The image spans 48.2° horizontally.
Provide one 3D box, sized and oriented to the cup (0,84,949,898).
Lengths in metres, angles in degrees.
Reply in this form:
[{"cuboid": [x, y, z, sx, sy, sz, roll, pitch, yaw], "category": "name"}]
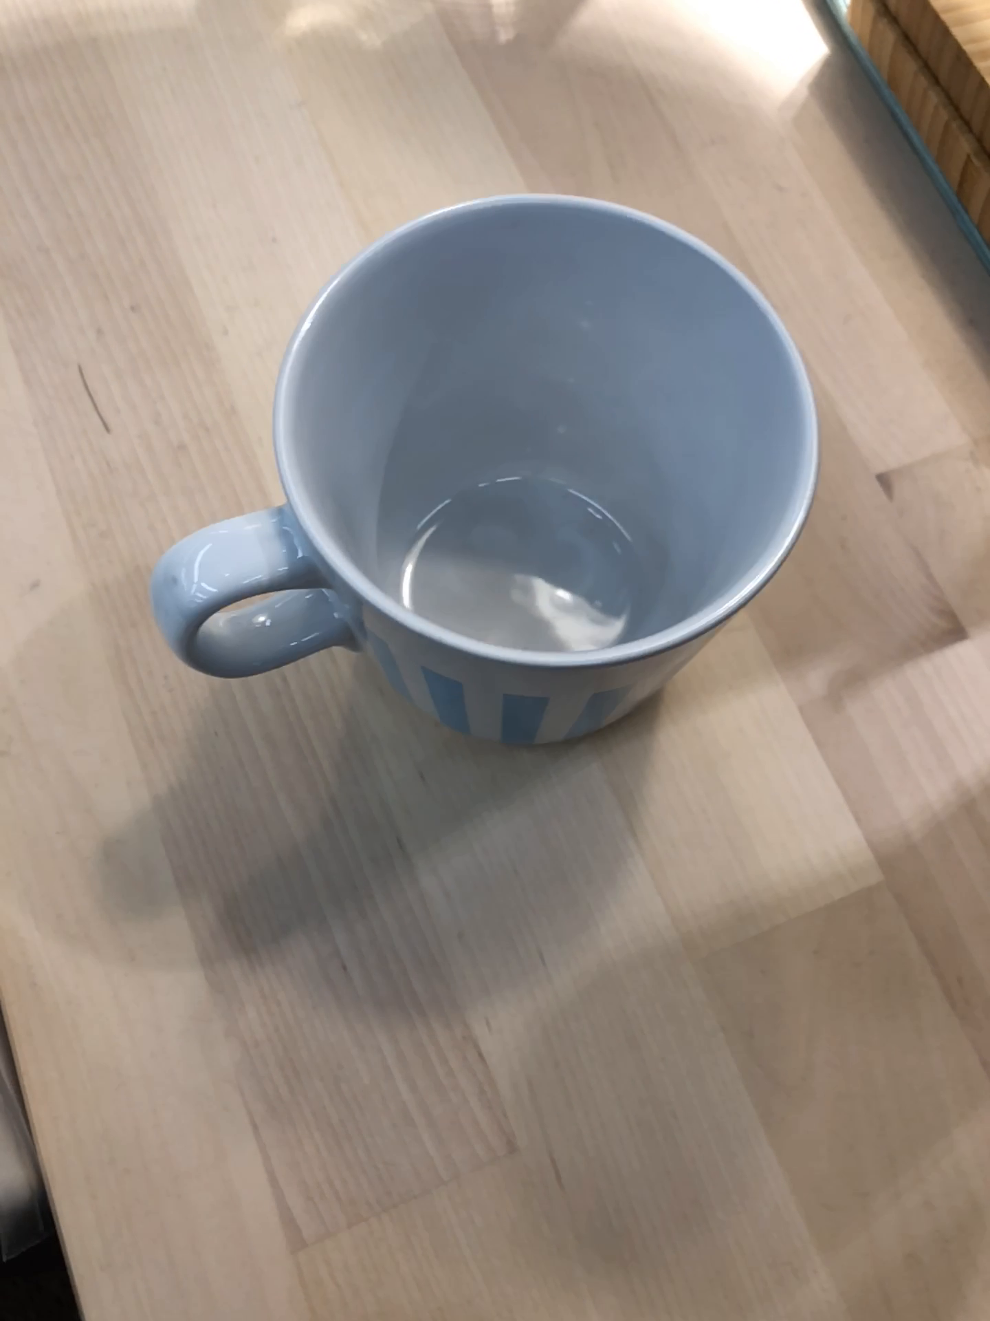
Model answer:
[{"cuboid": [-0.009, -0.024, 0.195, 0.120, 0.080, 0.080, -20, 72, -10], "category": "cup"}]
